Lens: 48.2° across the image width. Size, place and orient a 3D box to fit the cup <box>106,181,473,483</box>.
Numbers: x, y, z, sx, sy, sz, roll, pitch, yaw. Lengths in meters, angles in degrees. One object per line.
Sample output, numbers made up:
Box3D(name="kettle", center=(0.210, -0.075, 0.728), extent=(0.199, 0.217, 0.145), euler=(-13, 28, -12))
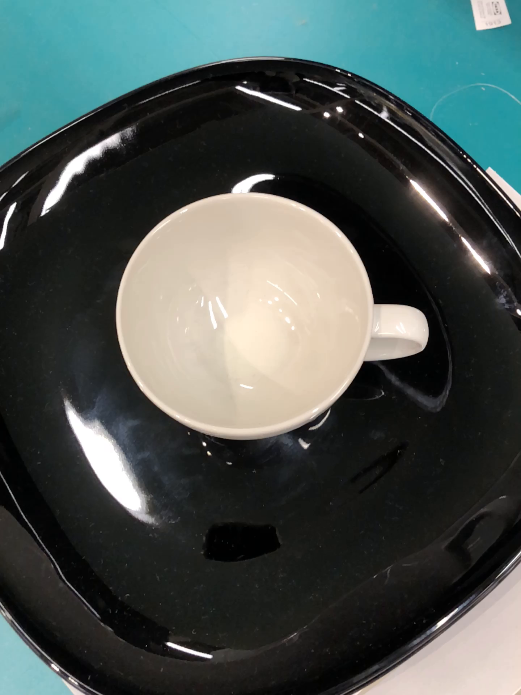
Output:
Box3D(name="cup", center=(0.007, -0.007, 0.245), extent=(0.130, 0.040, 0.110), euler=(-4, 69, 0))
